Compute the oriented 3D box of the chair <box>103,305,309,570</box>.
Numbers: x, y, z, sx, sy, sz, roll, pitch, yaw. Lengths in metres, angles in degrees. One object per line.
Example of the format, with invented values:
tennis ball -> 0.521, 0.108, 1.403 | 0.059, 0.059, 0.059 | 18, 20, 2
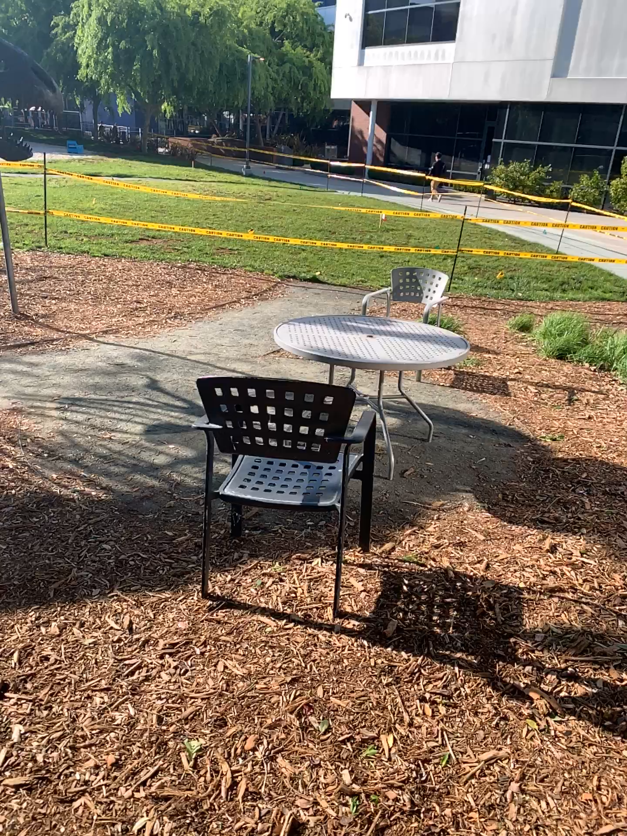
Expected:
chair -> -0.351, 0.043, 2.264 | 0.520, 0.716, 0.502 | 9, 24, 11
